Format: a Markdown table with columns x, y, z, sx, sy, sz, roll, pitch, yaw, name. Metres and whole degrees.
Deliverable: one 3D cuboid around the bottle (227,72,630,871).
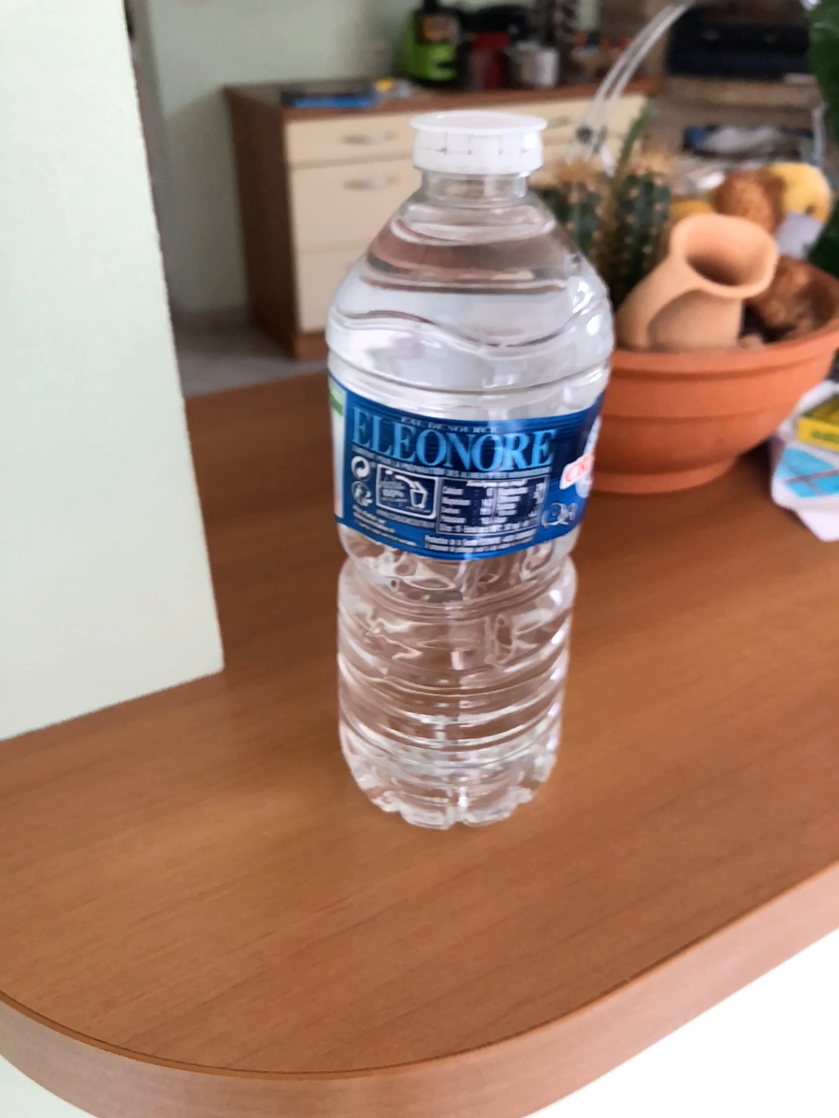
| x | y | z | sx | sy | sz | roll | pitch | yaw | name |
| --- | --- | --- | --- | --- | --- | --- | --- | --- | --- |
| 0.005 | -0.015 | 0.243 | 0.070 | 0.189 | 0.070 | 0 | 32 | 0 | bottle |
